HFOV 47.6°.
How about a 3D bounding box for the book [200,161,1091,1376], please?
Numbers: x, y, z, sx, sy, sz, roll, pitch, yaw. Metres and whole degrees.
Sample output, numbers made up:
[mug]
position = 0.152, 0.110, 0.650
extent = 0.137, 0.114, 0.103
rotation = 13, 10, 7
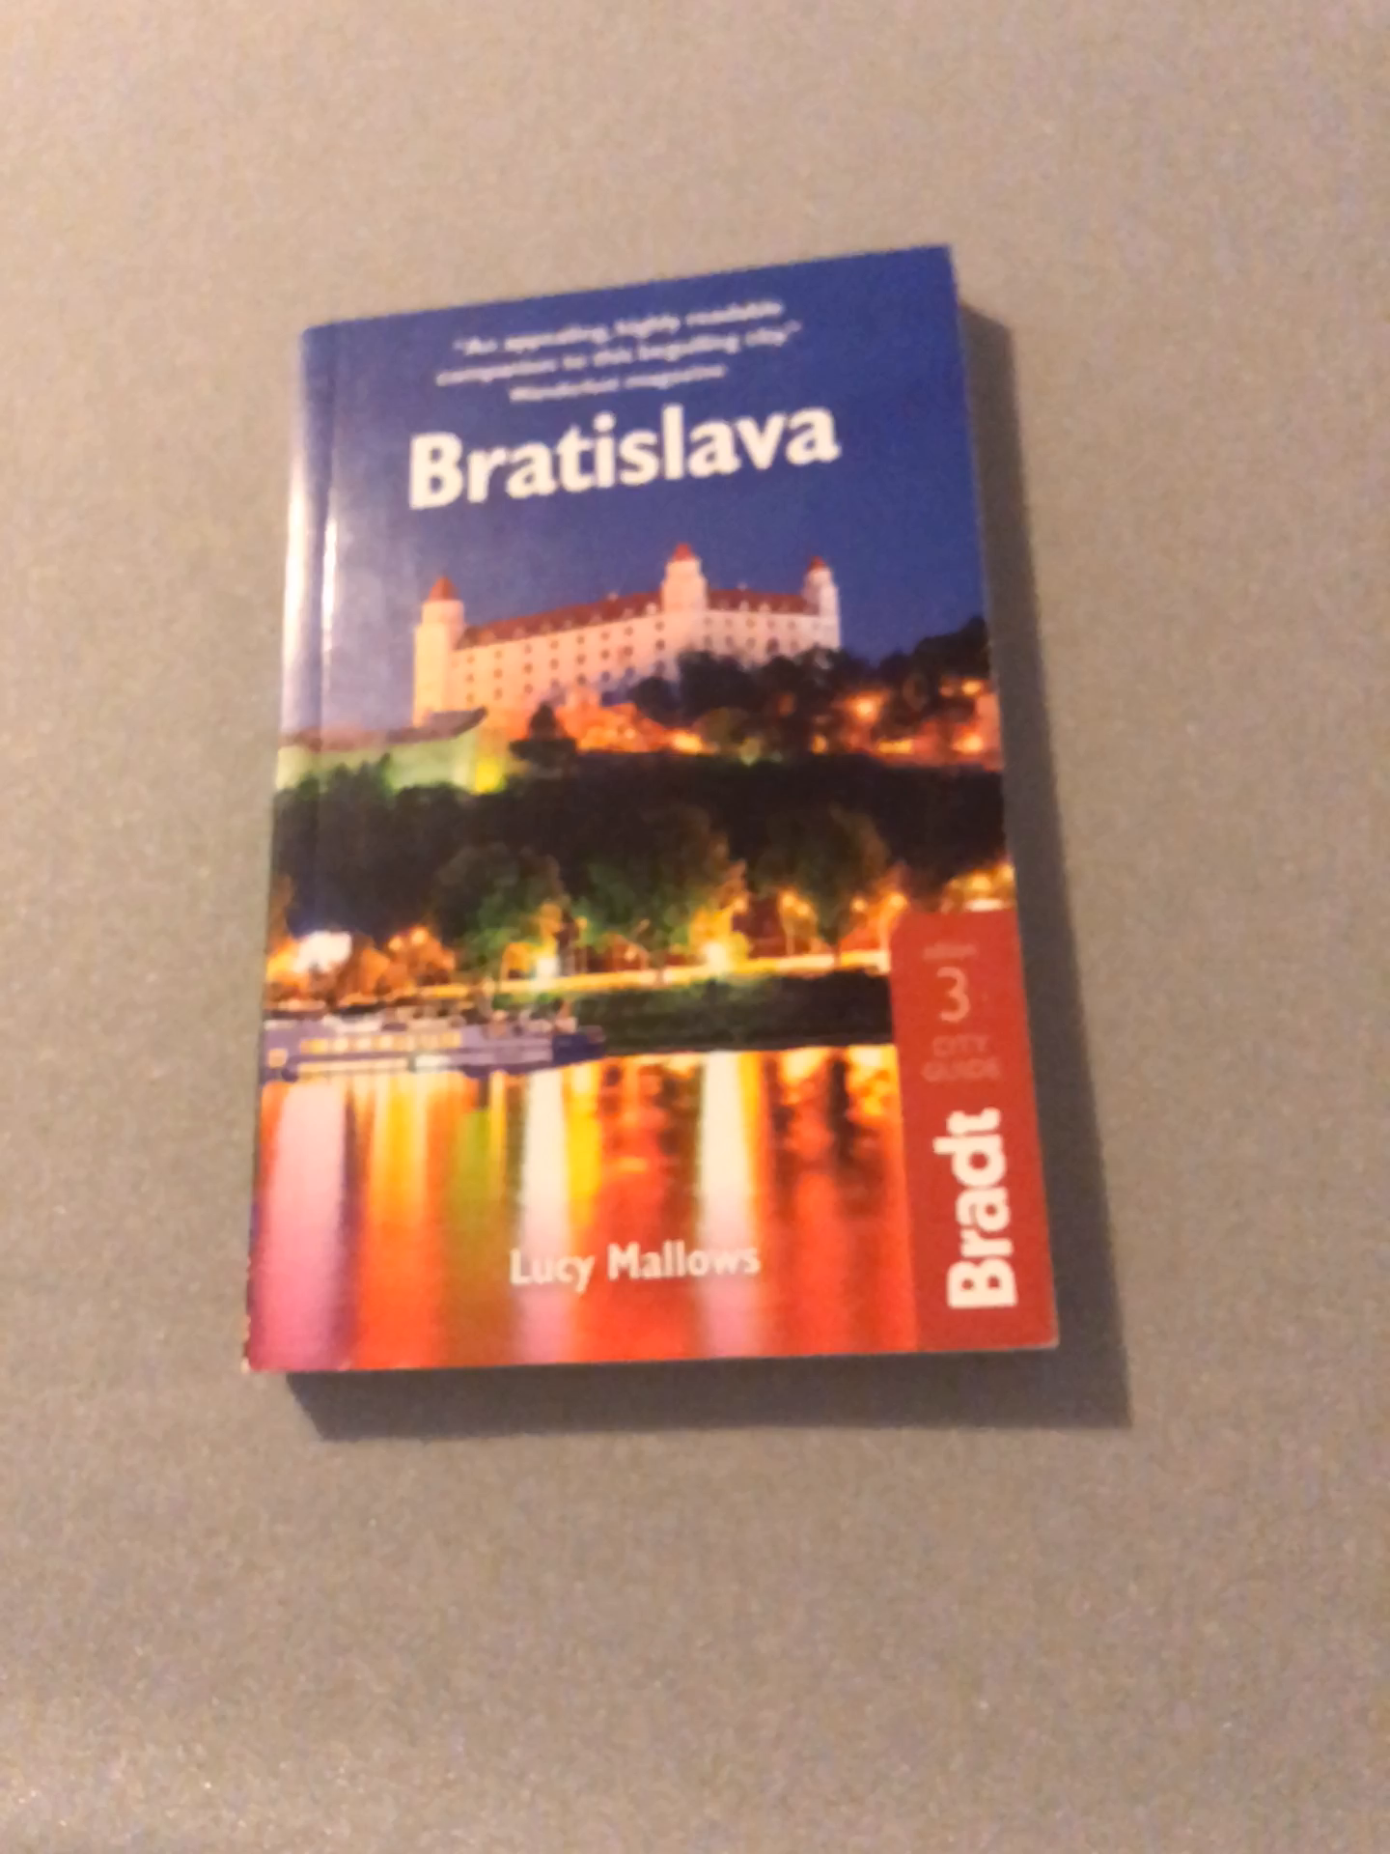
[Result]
[book]
position = -0.011, -0.031, 0.280
extent = 0.140, 0.020, 0.210
rotation = -4, 73, 11
